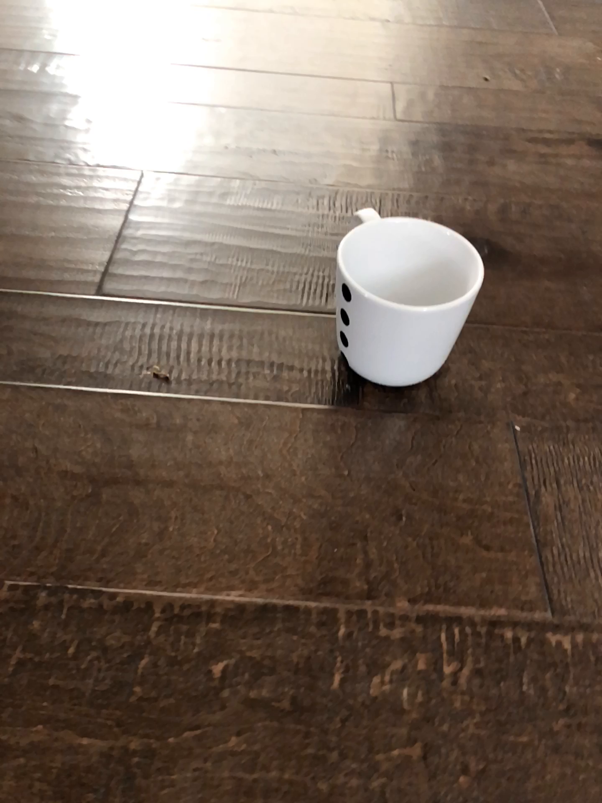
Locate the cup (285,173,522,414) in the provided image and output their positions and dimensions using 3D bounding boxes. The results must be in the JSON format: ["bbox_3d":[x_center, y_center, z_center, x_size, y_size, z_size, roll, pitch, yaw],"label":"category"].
[{"bbox_3d":[0.056,-0.071,0.417,0.090,0.079,0.111,-19,53,-20],"label":"cup"}]
